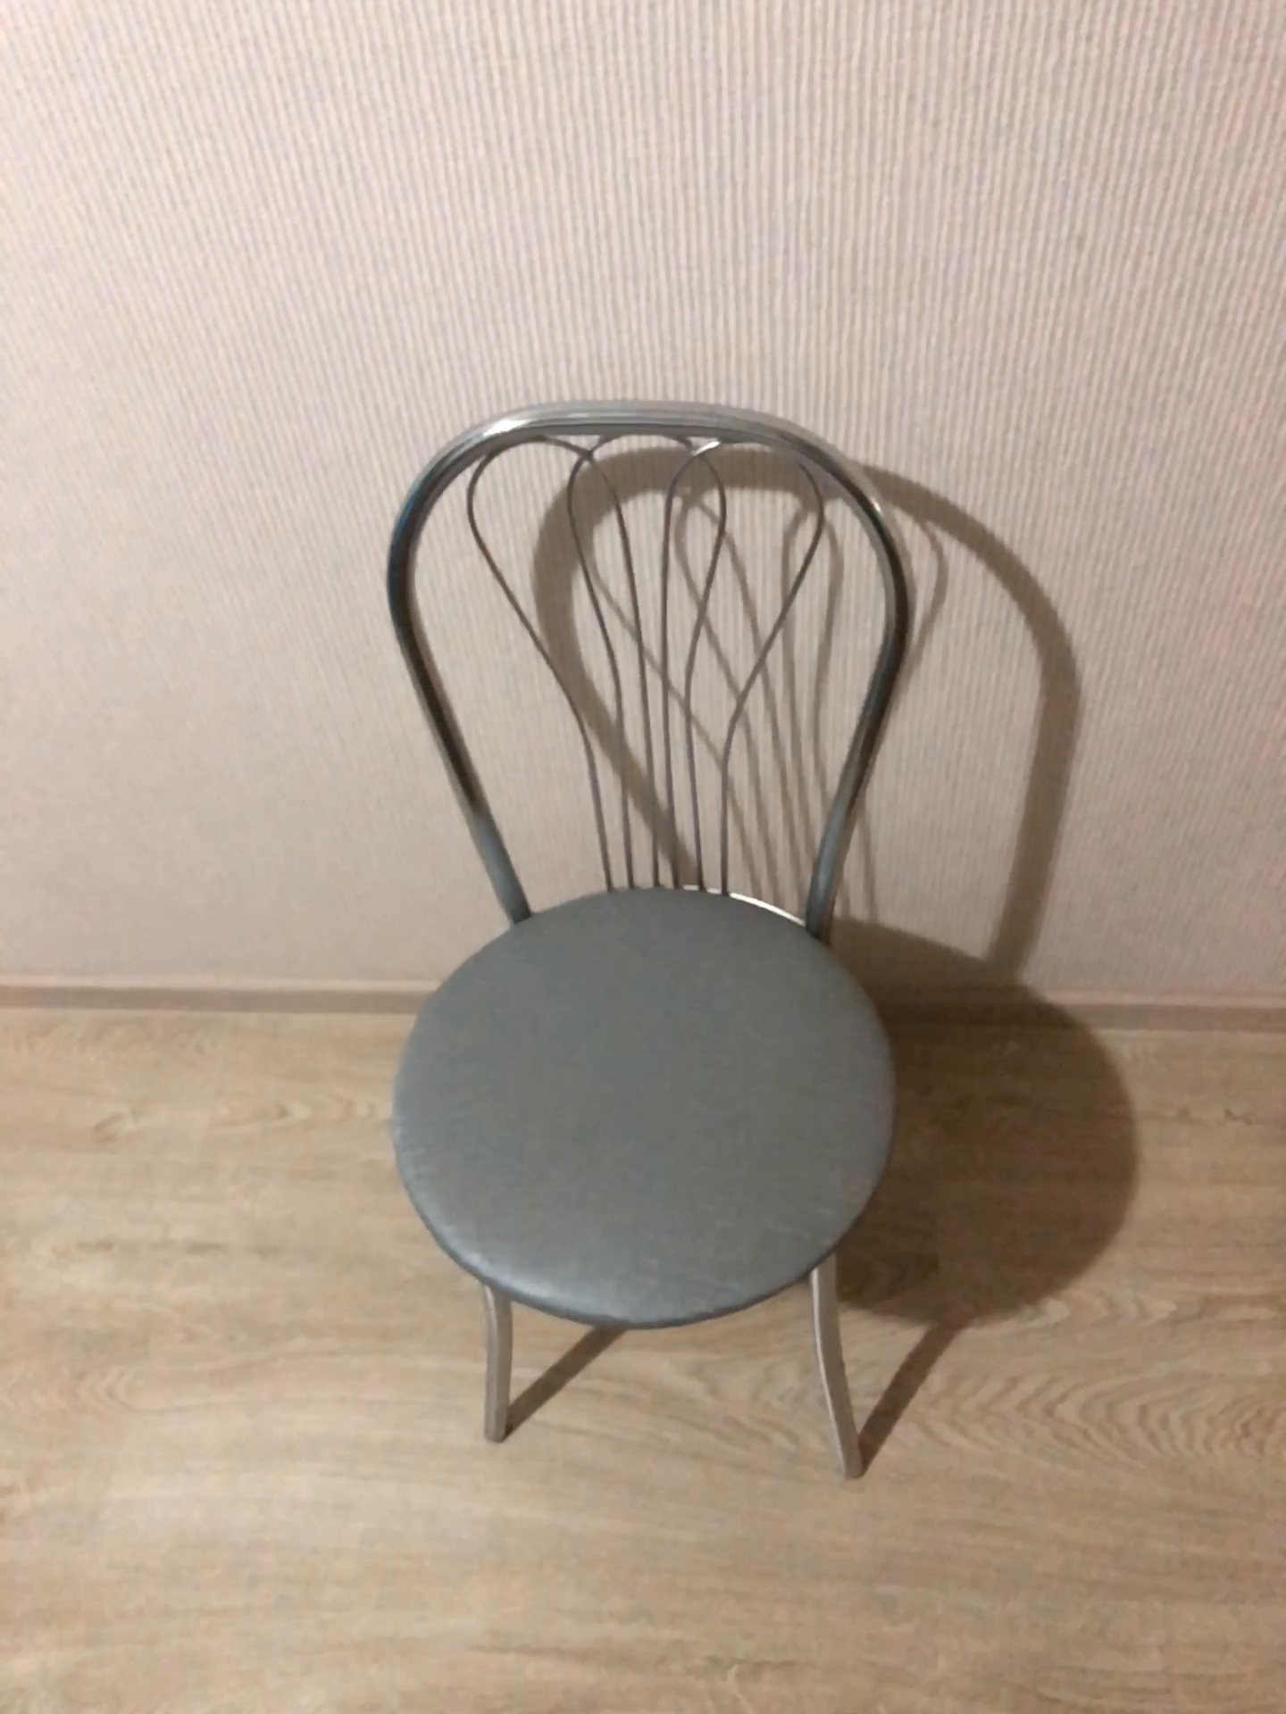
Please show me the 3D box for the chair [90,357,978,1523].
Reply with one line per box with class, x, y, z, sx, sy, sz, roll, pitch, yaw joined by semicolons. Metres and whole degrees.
chair;0.008;0.122;1.086;0.400;0.825;0.473;4;51;9
